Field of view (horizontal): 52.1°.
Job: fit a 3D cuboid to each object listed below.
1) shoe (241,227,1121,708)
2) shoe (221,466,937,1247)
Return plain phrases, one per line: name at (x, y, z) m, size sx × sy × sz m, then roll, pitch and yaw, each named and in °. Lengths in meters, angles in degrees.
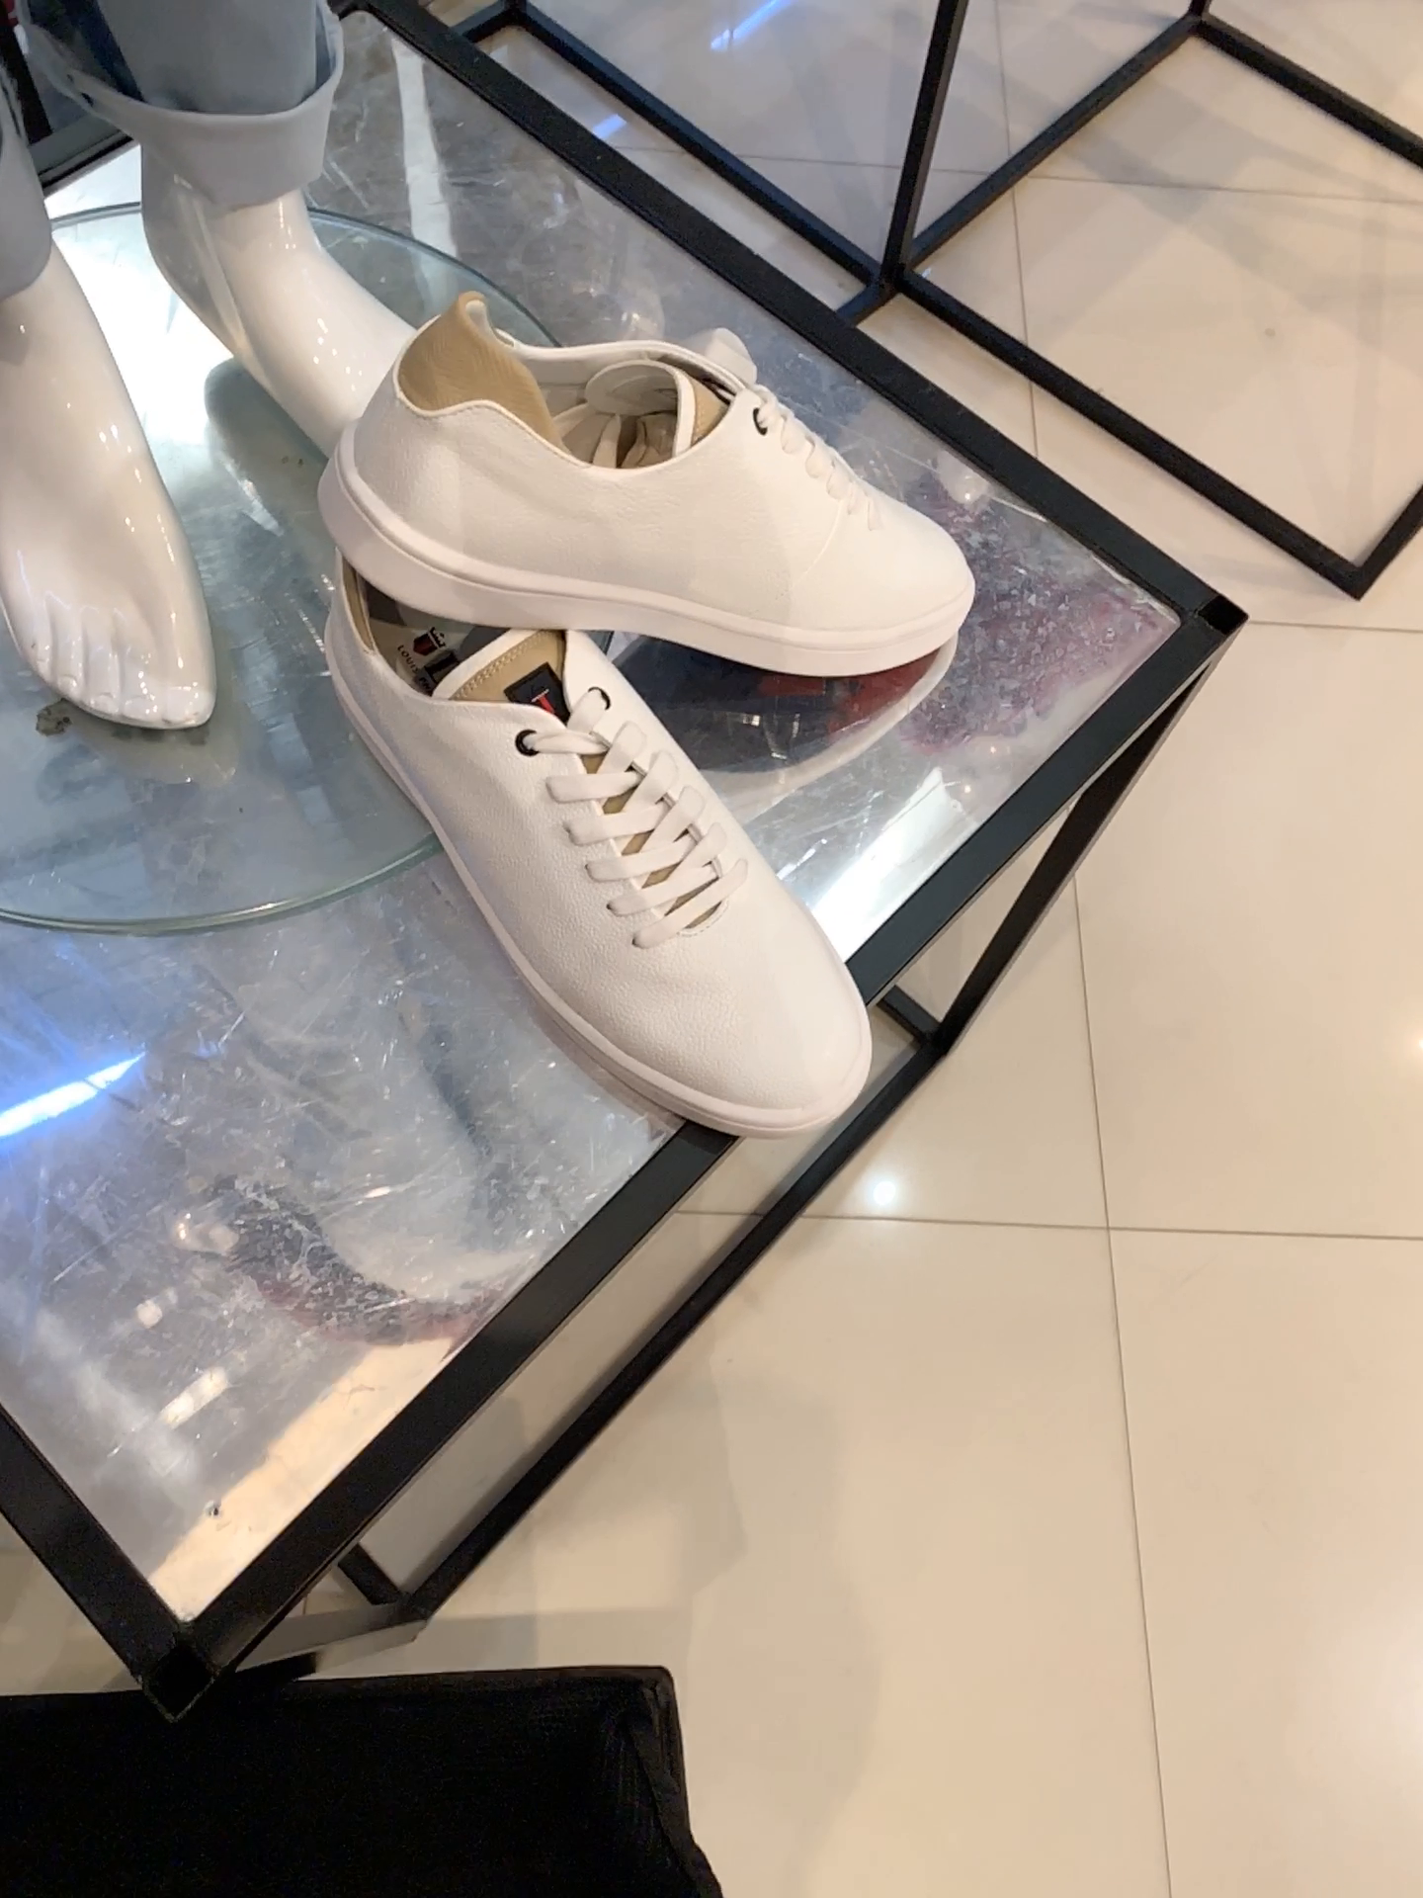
shoe at (-0.008, -0.167, 0.537) m, size 0.300 × 0.080 × 0.100 m, roll 2°, pitch 47°, yaw -26°
shoe at (-0.057, -0.038, 0.569) m, size 0.100 × 0.100 × 0.291 m, roll -36°, pitch 74°, yaw -18°
